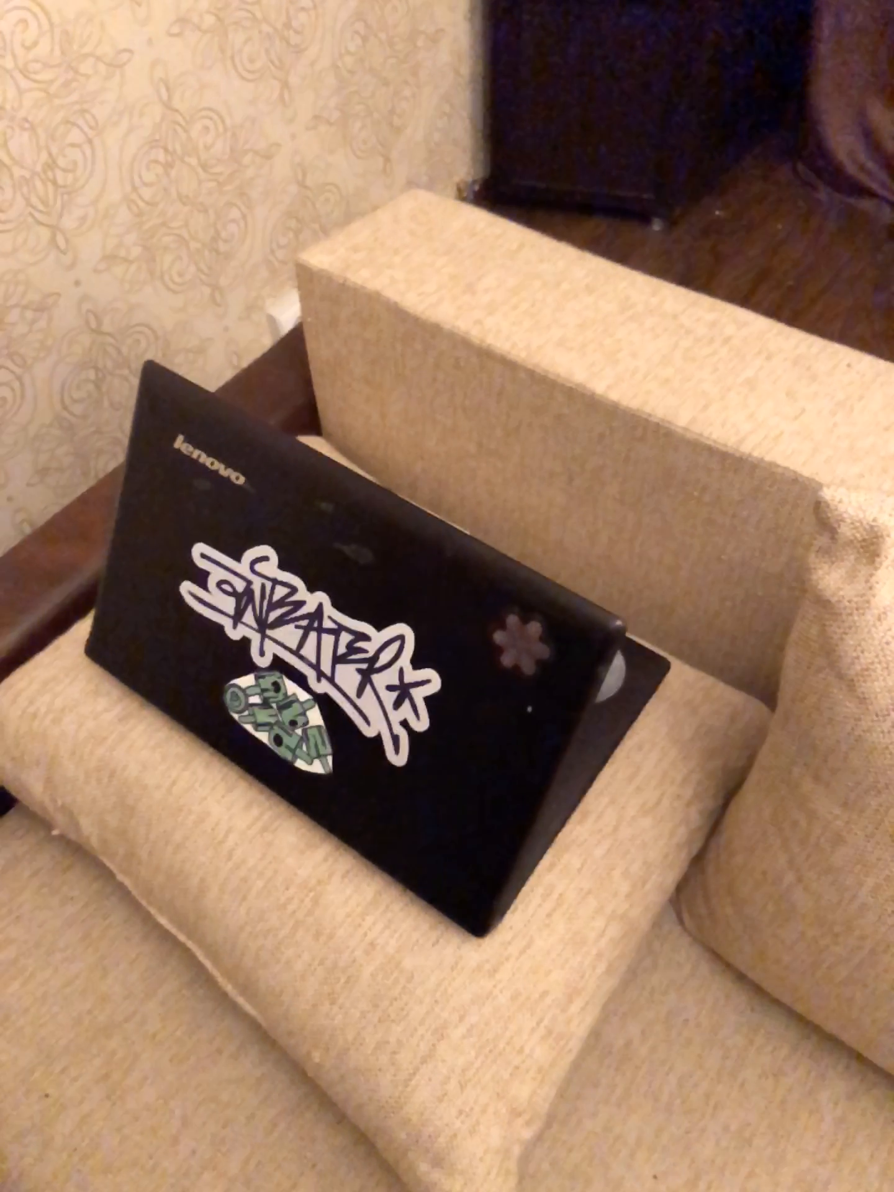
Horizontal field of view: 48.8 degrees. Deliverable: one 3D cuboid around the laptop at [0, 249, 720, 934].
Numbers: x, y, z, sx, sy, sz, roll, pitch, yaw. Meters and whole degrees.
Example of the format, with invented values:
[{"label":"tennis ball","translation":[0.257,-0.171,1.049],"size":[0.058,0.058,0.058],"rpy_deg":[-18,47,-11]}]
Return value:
[{"label":"laptop","translation":[-0.065,-0.018,0.741],"size":[0.413,0.223,0.268],"rpy_deg":[29,61,21]}]
